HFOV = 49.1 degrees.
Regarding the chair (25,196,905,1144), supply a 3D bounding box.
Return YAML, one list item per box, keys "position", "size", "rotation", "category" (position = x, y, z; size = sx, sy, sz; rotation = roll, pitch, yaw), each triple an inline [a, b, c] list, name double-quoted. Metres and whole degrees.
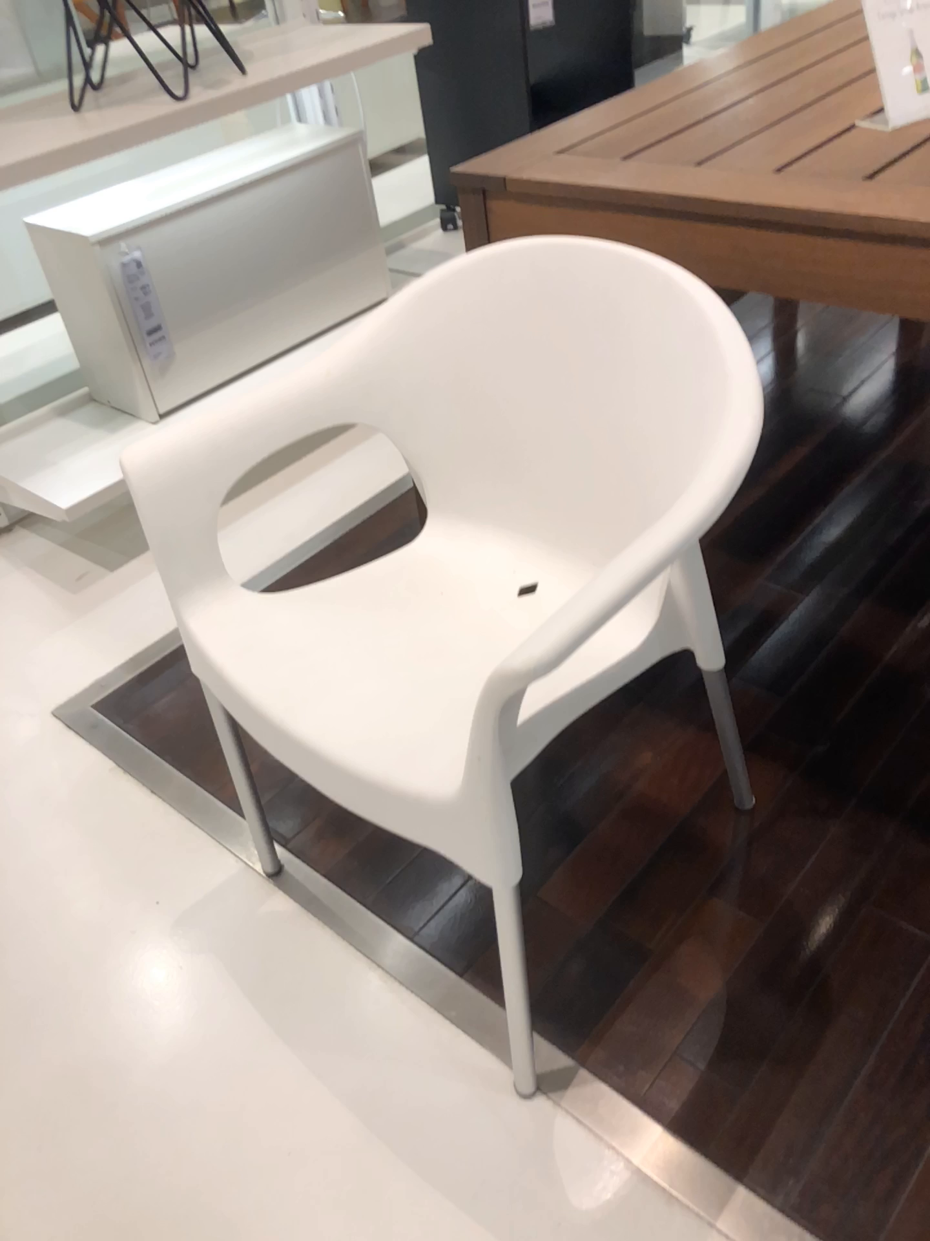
- position: [0.037, 0.005, 1.137]
  size: [0.582, 0.705, 0.562]
  rotation: [25, 50, 37]
  category: "chair"
